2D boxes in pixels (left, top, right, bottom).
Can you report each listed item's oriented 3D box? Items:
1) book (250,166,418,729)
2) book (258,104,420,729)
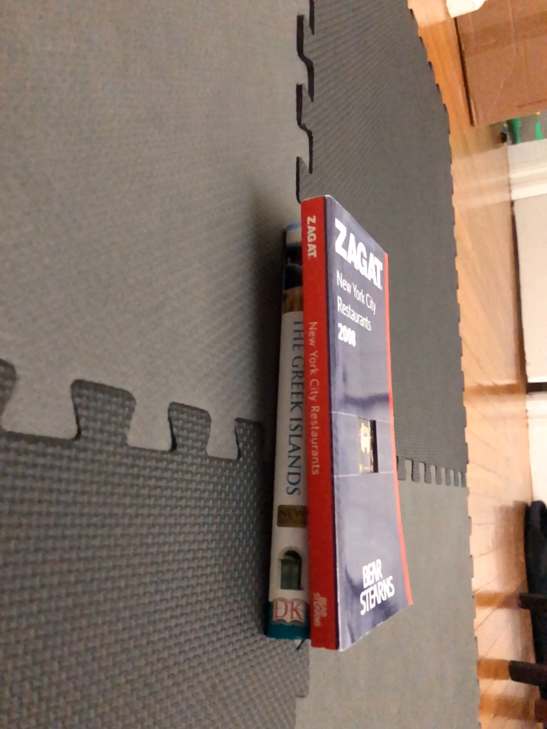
[{"bbox_3d":[0.047,0.046,0.355,0.171,0.030,0.260,29,60,-59],"label":"book"},{"bbox_3d":[0.039,0.025,0.303,0.151,0.020,0.250,13,74,-63],"label":"book"}]
